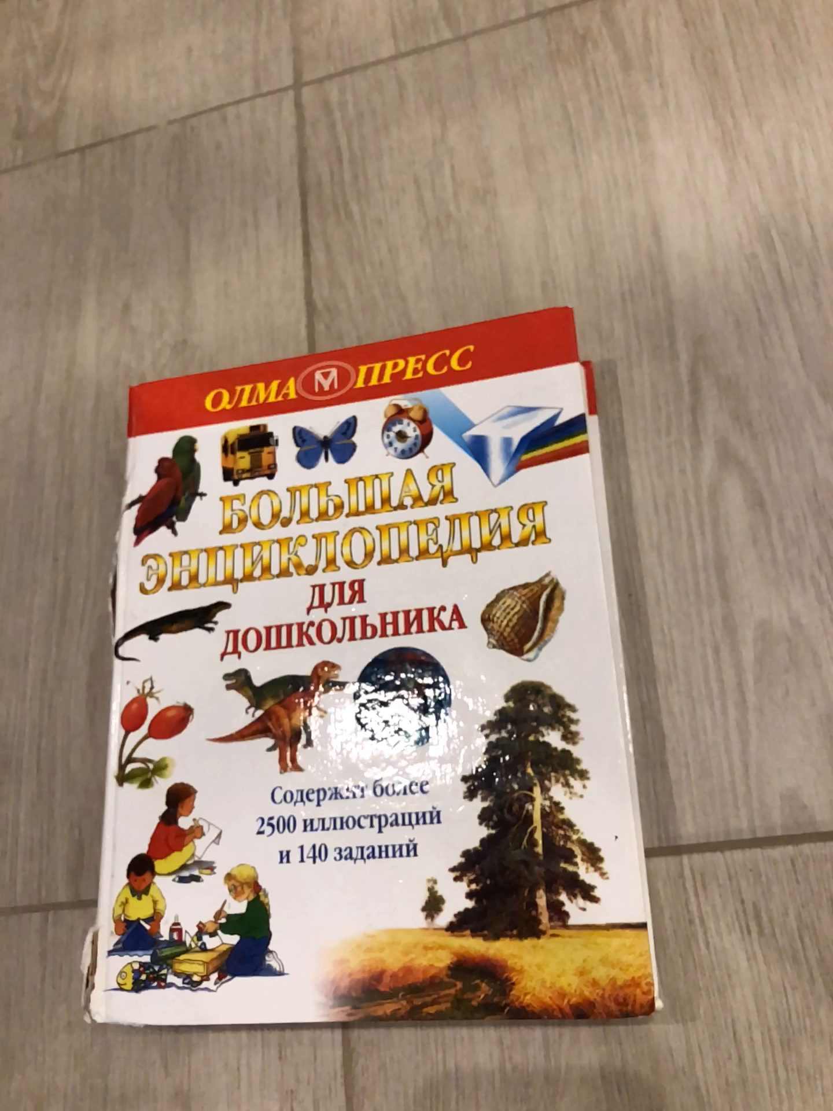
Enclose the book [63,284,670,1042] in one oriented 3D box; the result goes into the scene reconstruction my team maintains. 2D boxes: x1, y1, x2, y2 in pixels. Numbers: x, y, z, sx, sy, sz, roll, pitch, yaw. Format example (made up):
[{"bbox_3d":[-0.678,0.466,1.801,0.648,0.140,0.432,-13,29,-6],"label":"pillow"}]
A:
[{"bbox_3d":[-0.023,0.042,0.387,0.216,0.060,0.281,-7,70,13],"label":"book"}]
